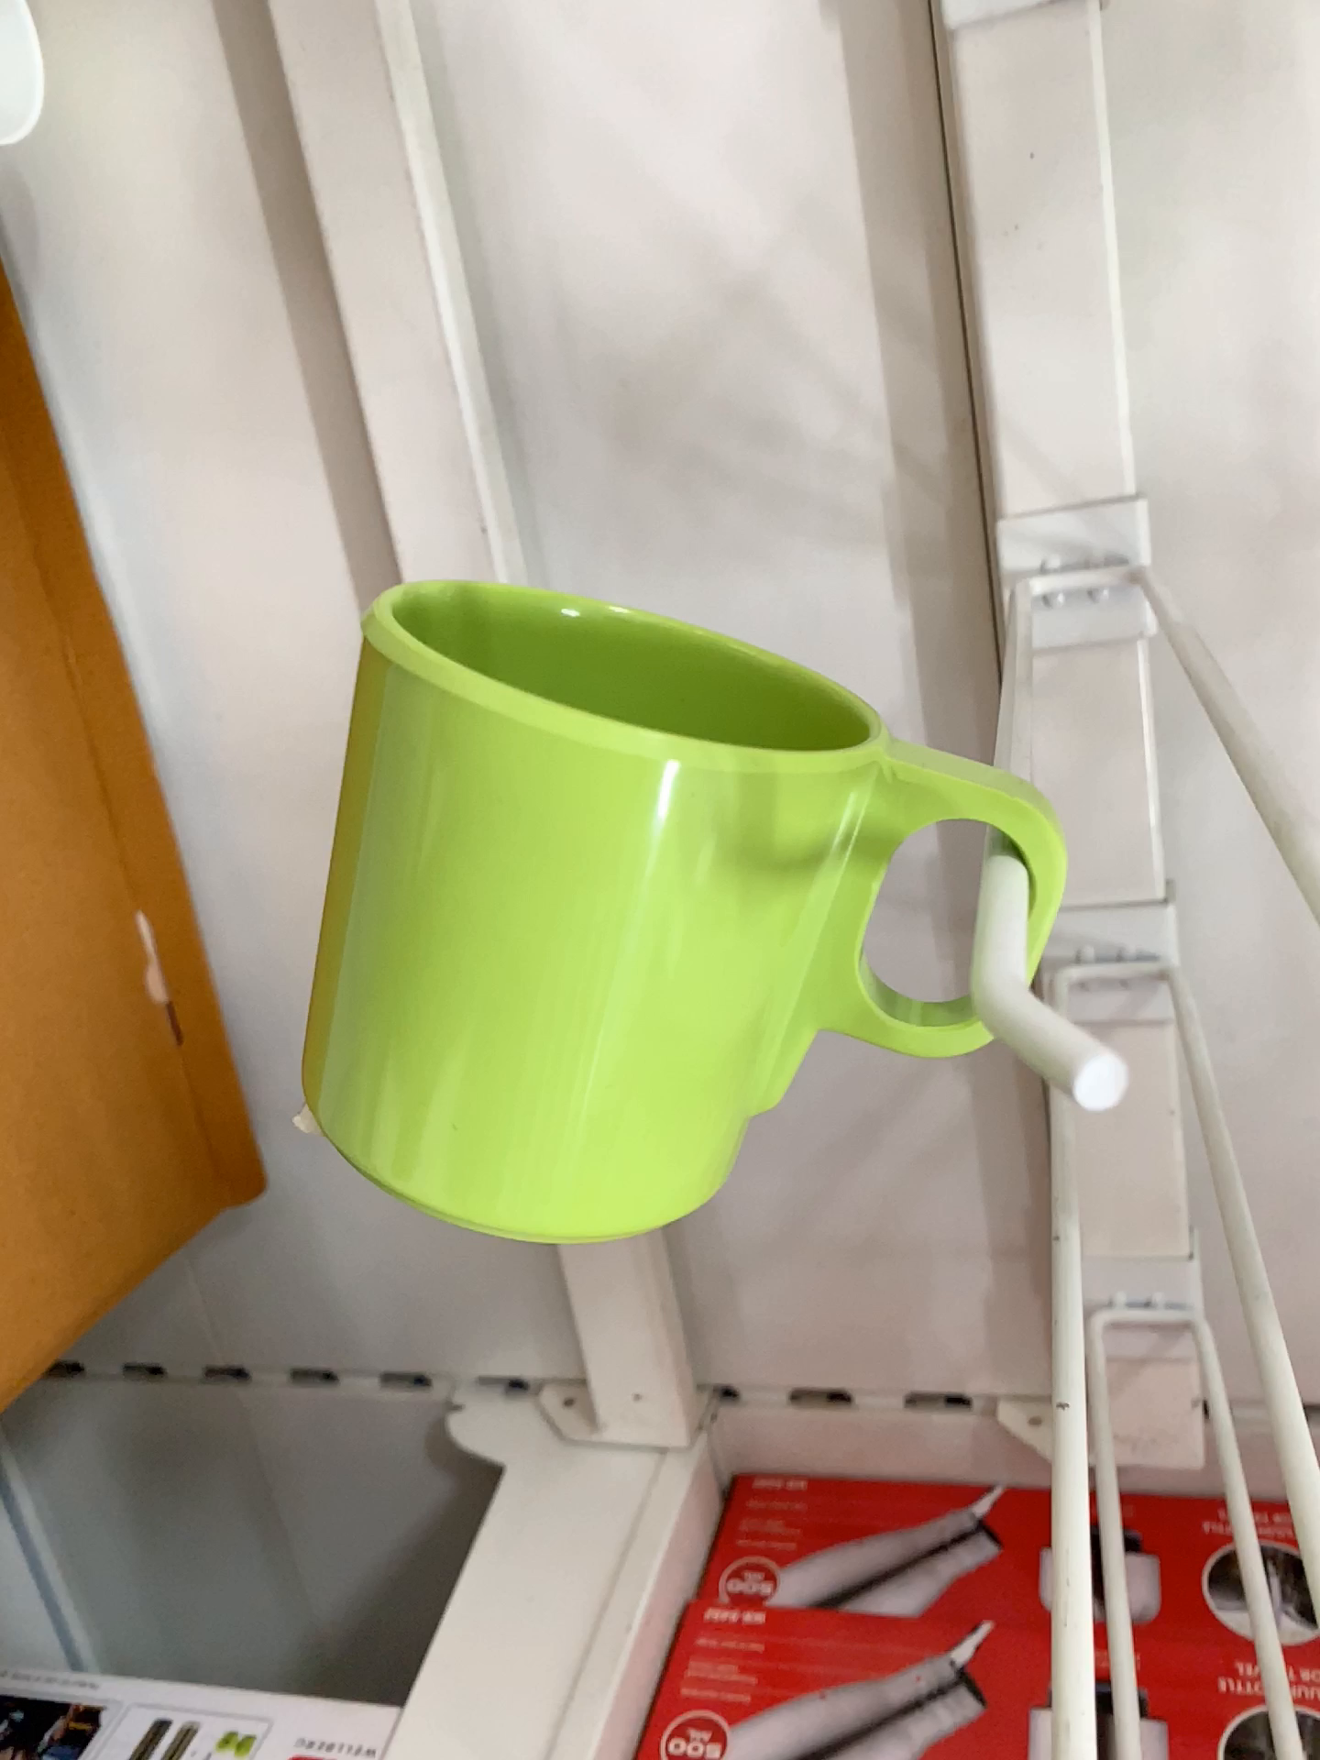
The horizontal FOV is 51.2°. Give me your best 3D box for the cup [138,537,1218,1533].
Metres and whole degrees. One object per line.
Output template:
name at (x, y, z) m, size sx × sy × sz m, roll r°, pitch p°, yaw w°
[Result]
cup at (0.004, 0.012, 0.206) m, size 0.100 × 0.110 × 0.080 m, roll -64°, pitch 172°, yaw -66°
